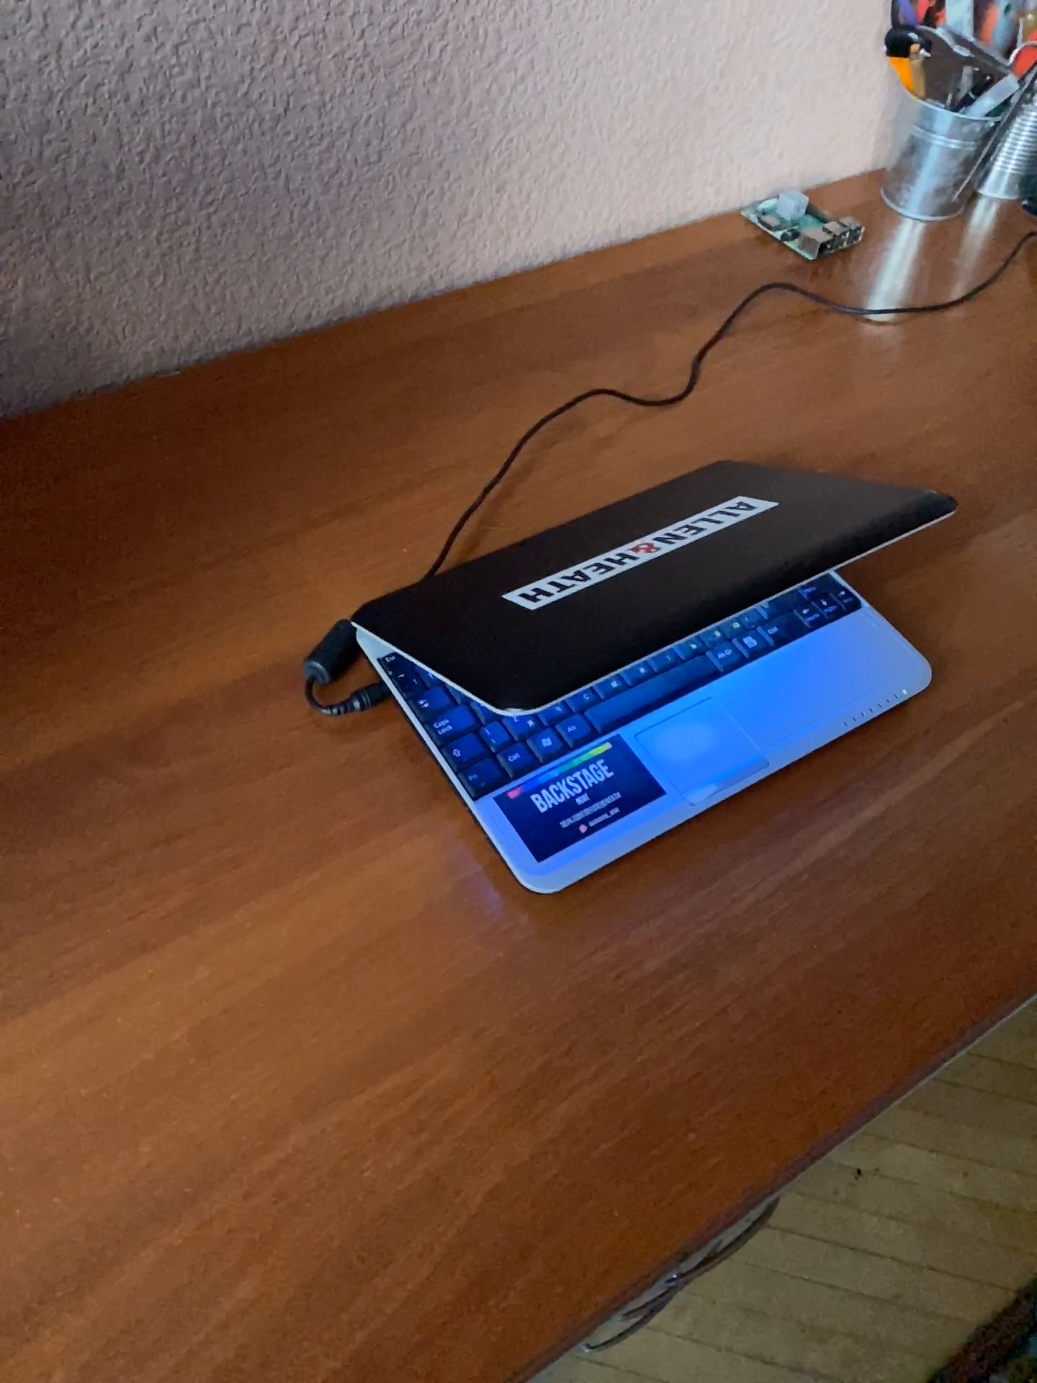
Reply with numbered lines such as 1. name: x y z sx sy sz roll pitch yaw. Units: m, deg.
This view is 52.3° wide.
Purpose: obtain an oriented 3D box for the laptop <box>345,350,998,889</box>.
1. laptop: 0.073 -0.050 0.540 0.266 0.088 0.173 -24 60 -21
